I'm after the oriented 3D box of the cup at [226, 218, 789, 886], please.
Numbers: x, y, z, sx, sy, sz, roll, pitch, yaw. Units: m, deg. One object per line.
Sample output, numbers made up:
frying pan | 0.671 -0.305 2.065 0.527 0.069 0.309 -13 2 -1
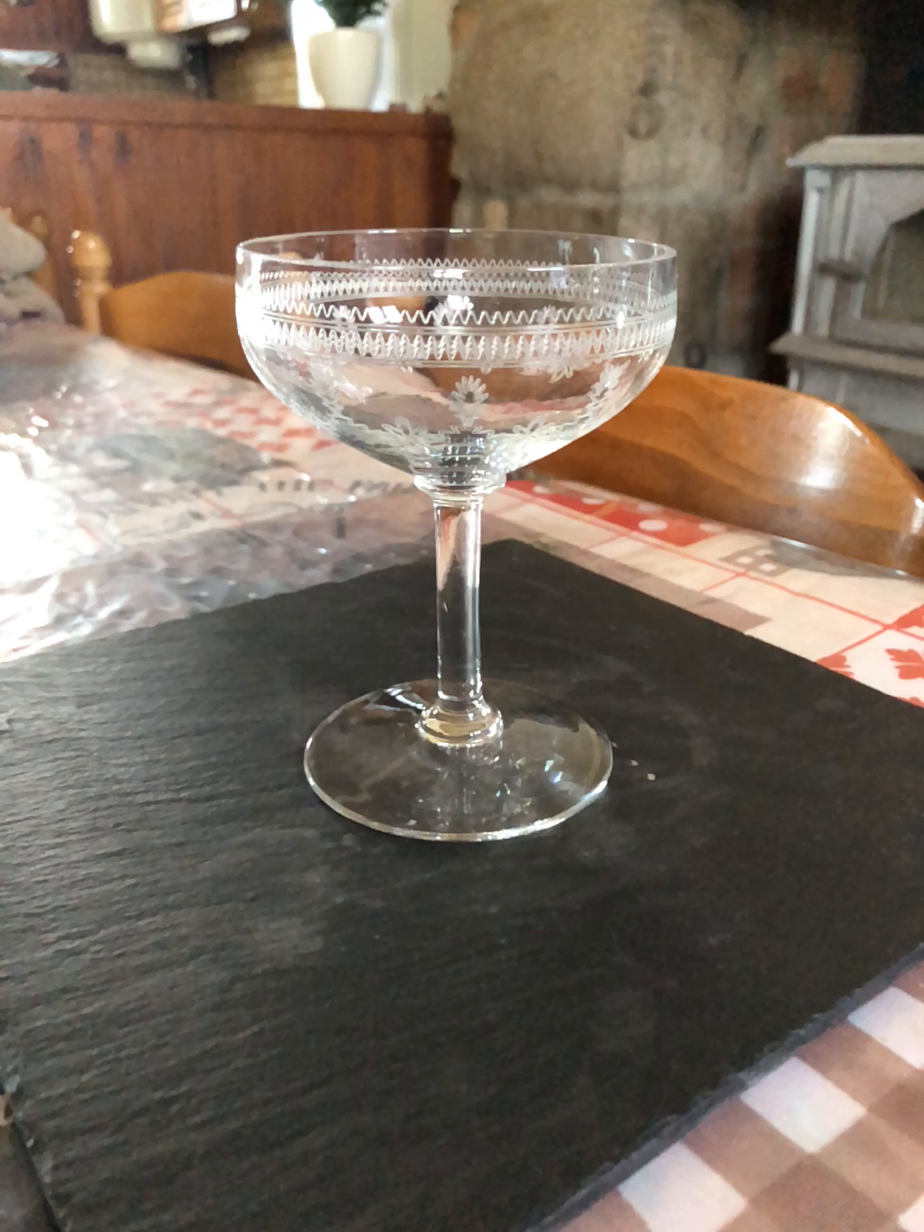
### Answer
cup | 0.001 -0.024 0.231 0.090 0.119 0.090 0 22 0
